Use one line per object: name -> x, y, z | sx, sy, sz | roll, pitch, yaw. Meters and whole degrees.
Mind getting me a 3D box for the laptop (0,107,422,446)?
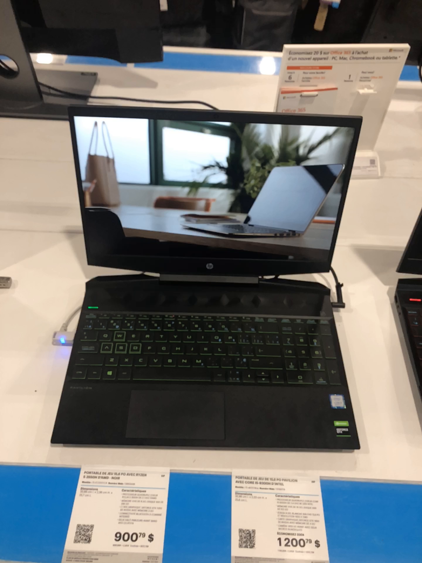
laptop -> -0.002, -0.009, 0.555 | 0.355, 0.232, 0.317 | 2, 49, -3
